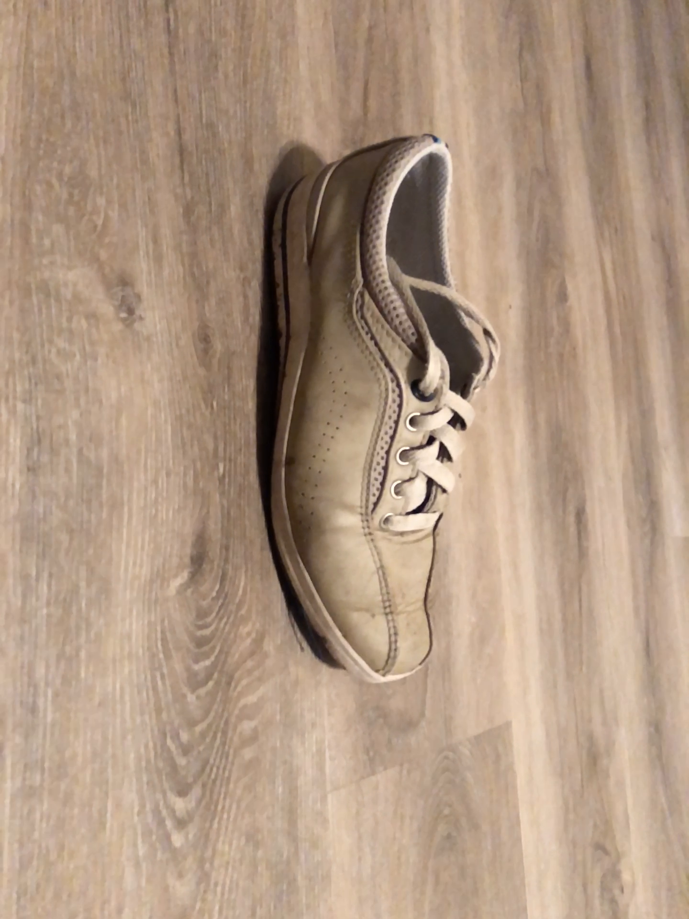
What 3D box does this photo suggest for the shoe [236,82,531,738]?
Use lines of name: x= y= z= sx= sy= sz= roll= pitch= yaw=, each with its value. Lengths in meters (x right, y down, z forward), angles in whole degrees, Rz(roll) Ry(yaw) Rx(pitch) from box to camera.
shoe: x=0.018 y=-0.018 z=0.343 sx=0.091 sy=0.070 sz=0.250 roll=2 pitch=81 yaw=-51
